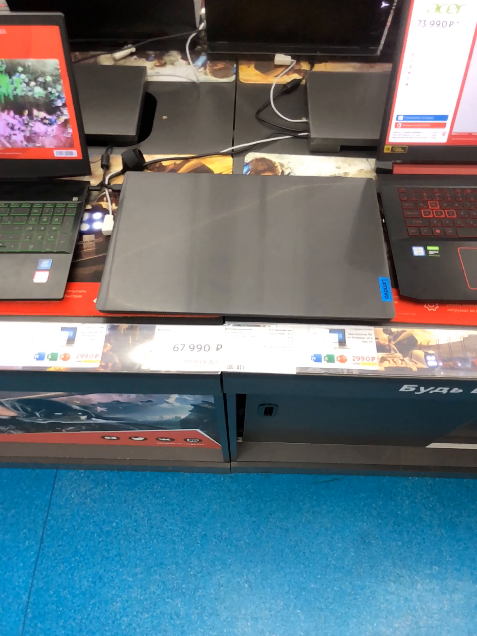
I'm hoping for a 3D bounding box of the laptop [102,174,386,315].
[{"bbox_3d":[0.008,-0.121,0.789,0.389,0.002,0.269,1,56,0],"label":"laptop"}]
